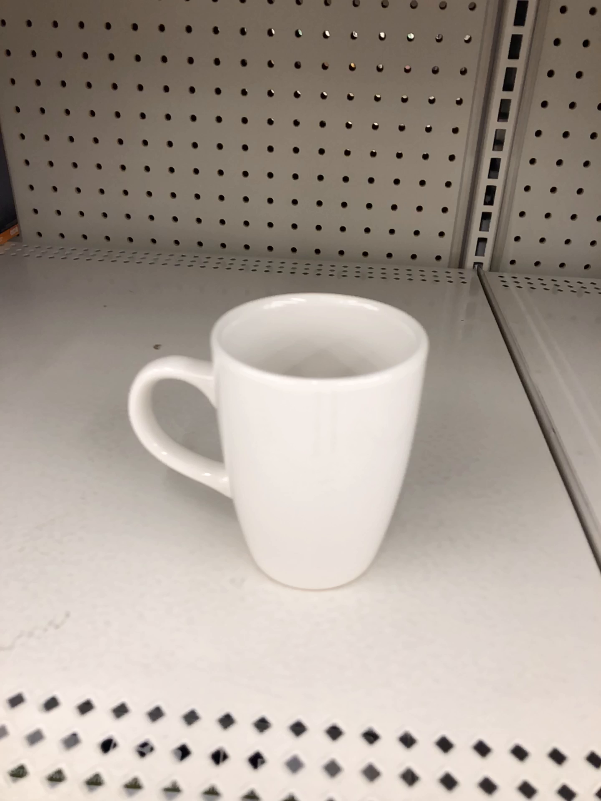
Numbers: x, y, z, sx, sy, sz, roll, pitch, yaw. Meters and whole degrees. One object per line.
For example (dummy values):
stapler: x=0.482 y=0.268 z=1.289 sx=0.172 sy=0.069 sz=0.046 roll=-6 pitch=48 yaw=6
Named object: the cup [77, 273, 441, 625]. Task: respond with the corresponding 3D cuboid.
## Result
cup: x=-0.013 y=0.015 z=0.290 sx=0.125 sy=0.105 sz=0.081 roll=10 pitch=31 yaw=14
